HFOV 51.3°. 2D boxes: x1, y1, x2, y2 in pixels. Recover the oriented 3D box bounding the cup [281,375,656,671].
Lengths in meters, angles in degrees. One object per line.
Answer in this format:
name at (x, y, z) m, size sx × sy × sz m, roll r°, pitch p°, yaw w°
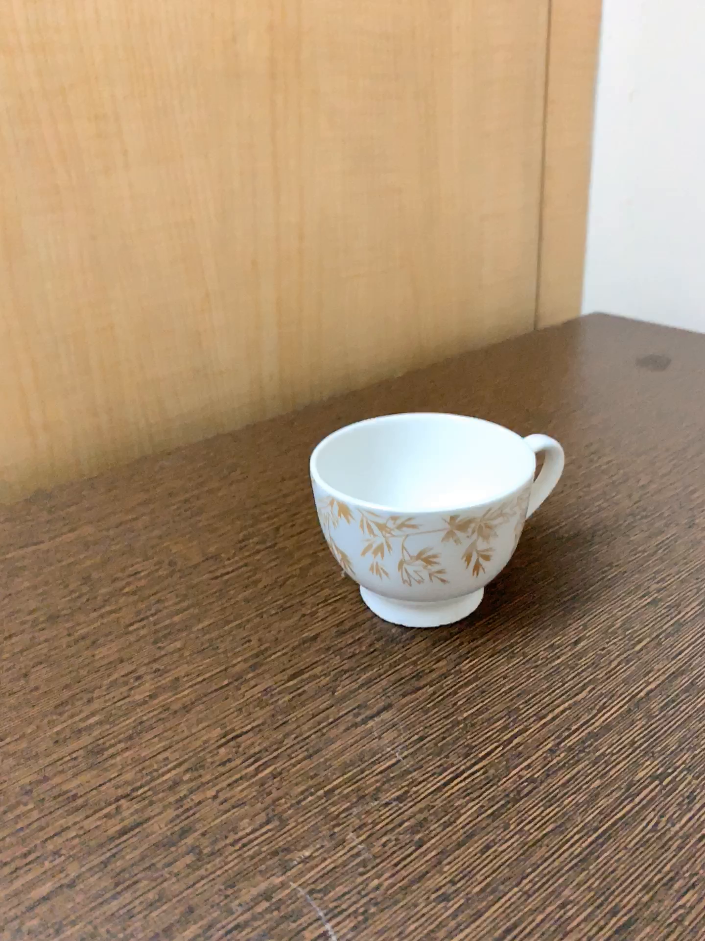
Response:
cup at (0.040, 0.010, 0.265) m, size 0.100 × 0.050 × 0.081 m, roll -18°, pitch 29°, yaw -27°
